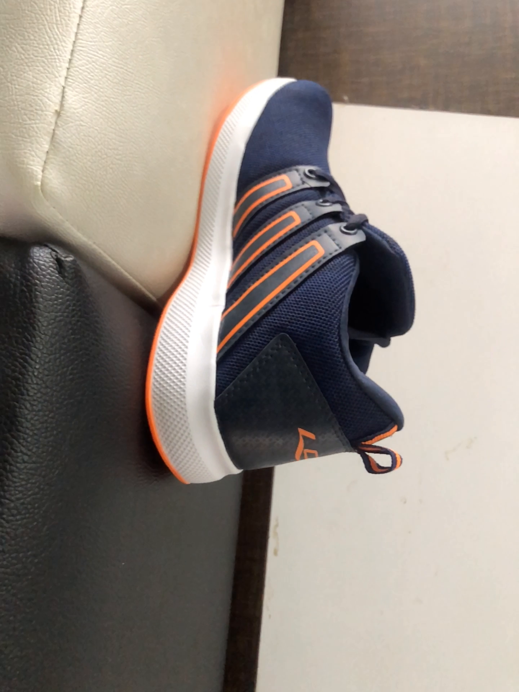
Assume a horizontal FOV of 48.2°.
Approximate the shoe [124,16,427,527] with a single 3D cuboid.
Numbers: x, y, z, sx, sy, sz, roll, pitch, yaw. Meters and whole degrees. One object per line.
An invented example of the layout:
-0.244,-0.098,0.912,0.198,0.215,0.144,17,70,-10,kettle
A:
0.031,-0.051,0.357,0.120,0.109,0.280,66,33,-62,shoe
